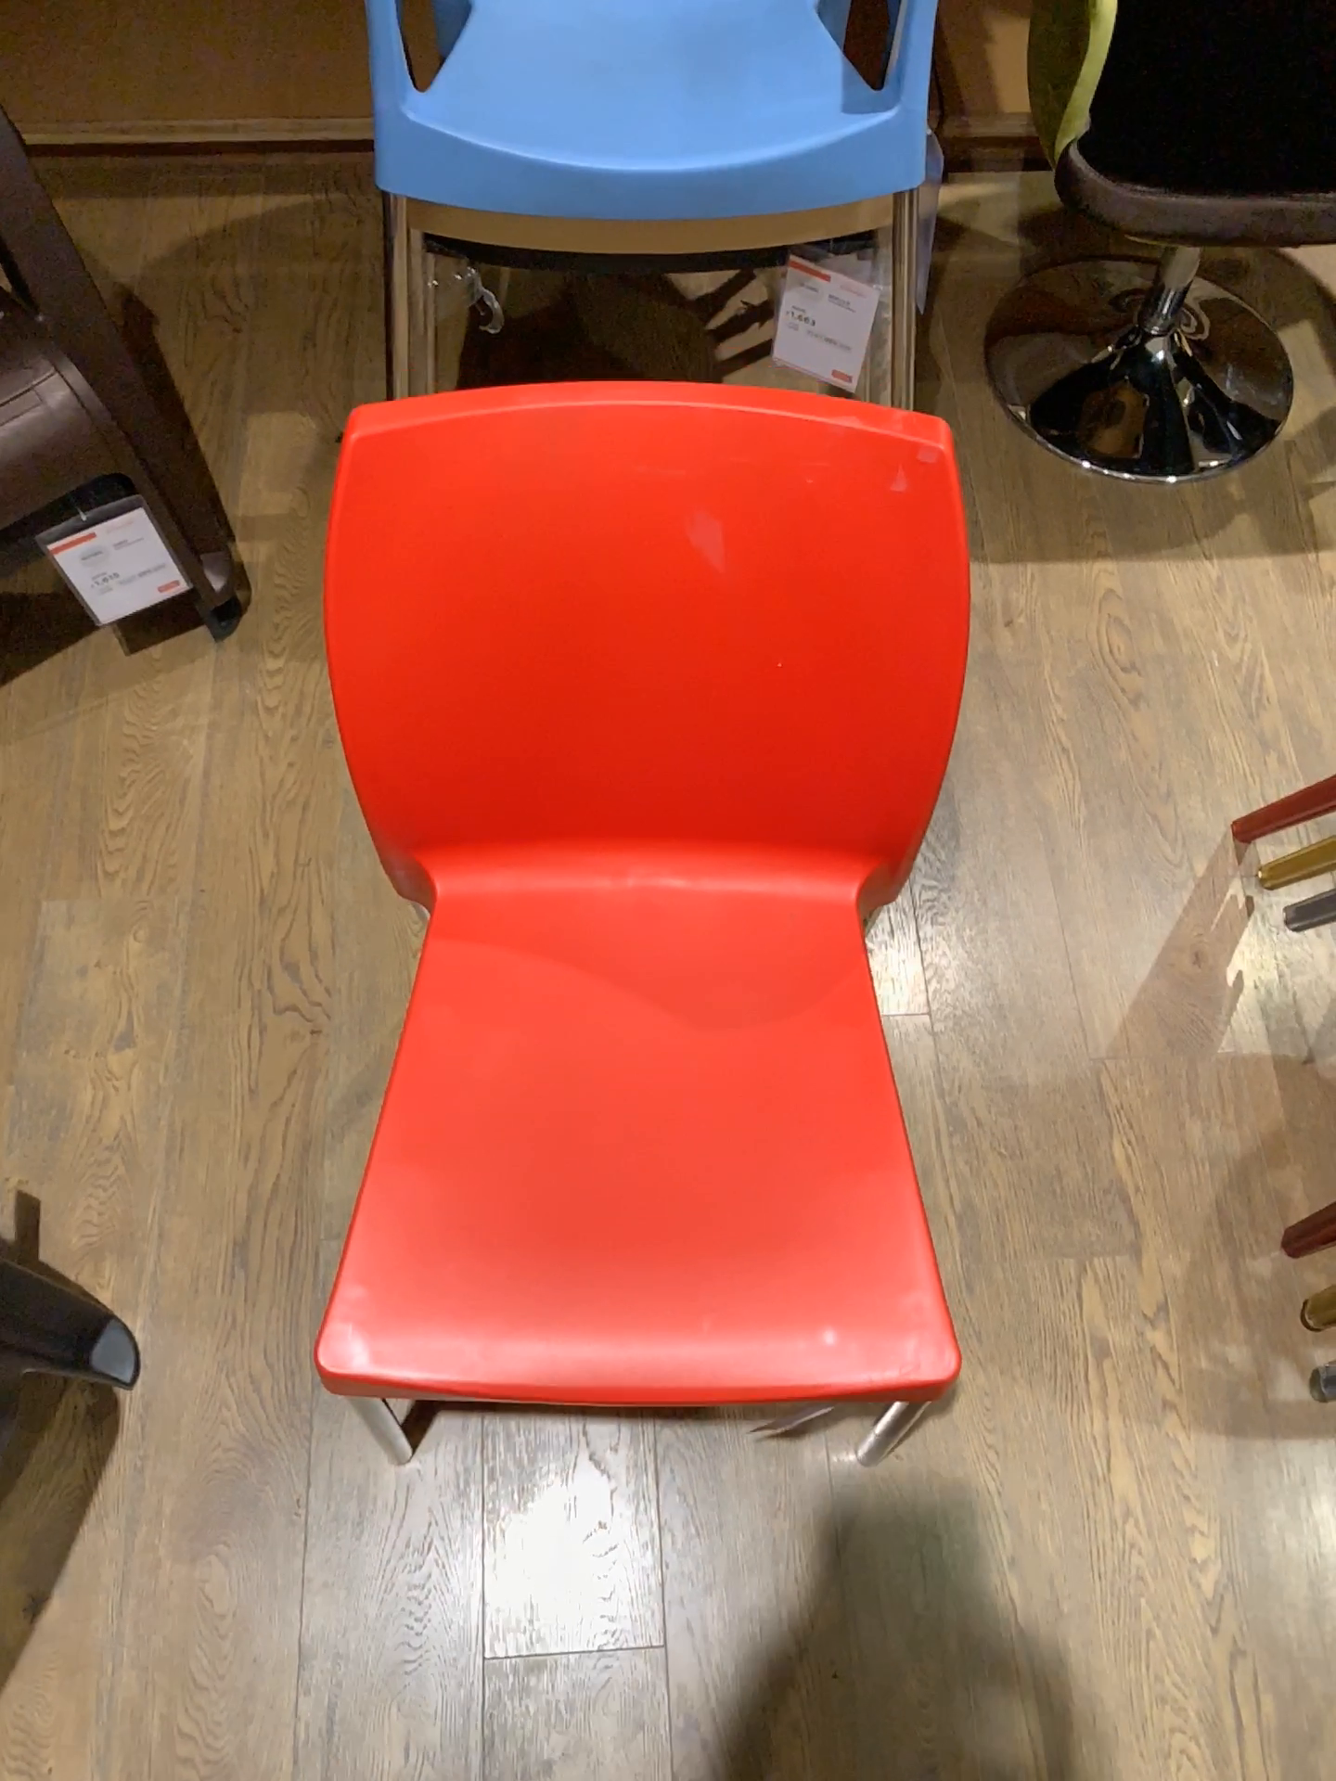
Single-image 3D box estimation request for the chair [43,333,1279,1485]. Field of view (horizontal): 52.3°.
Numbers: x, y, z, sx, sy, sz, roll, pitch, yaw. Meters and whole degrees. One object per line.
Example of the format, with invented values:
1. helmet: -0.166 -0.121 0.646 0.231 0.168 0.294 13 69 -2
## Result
1. chair: -0.002 0.107 1.069 0.530 0.779 0.621 2 64 0
